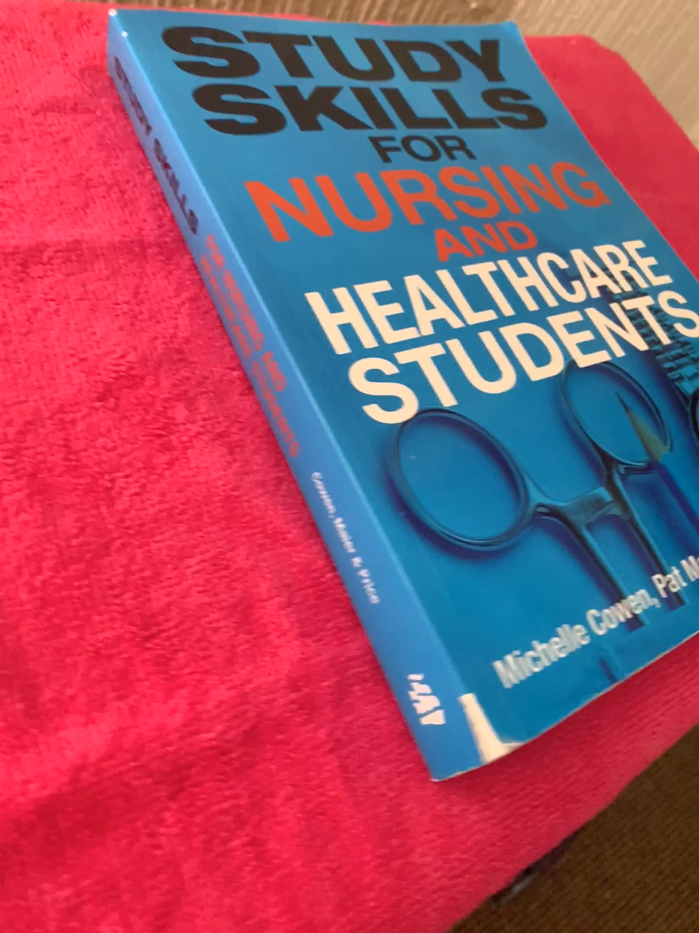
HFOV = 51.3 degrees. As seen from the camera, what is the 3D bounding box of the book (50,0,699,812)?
[{"bbox_3d":[0.040,-0.064,0.255,0.201,0.040,0.271,-16,66,-31],"label":"book"}]
